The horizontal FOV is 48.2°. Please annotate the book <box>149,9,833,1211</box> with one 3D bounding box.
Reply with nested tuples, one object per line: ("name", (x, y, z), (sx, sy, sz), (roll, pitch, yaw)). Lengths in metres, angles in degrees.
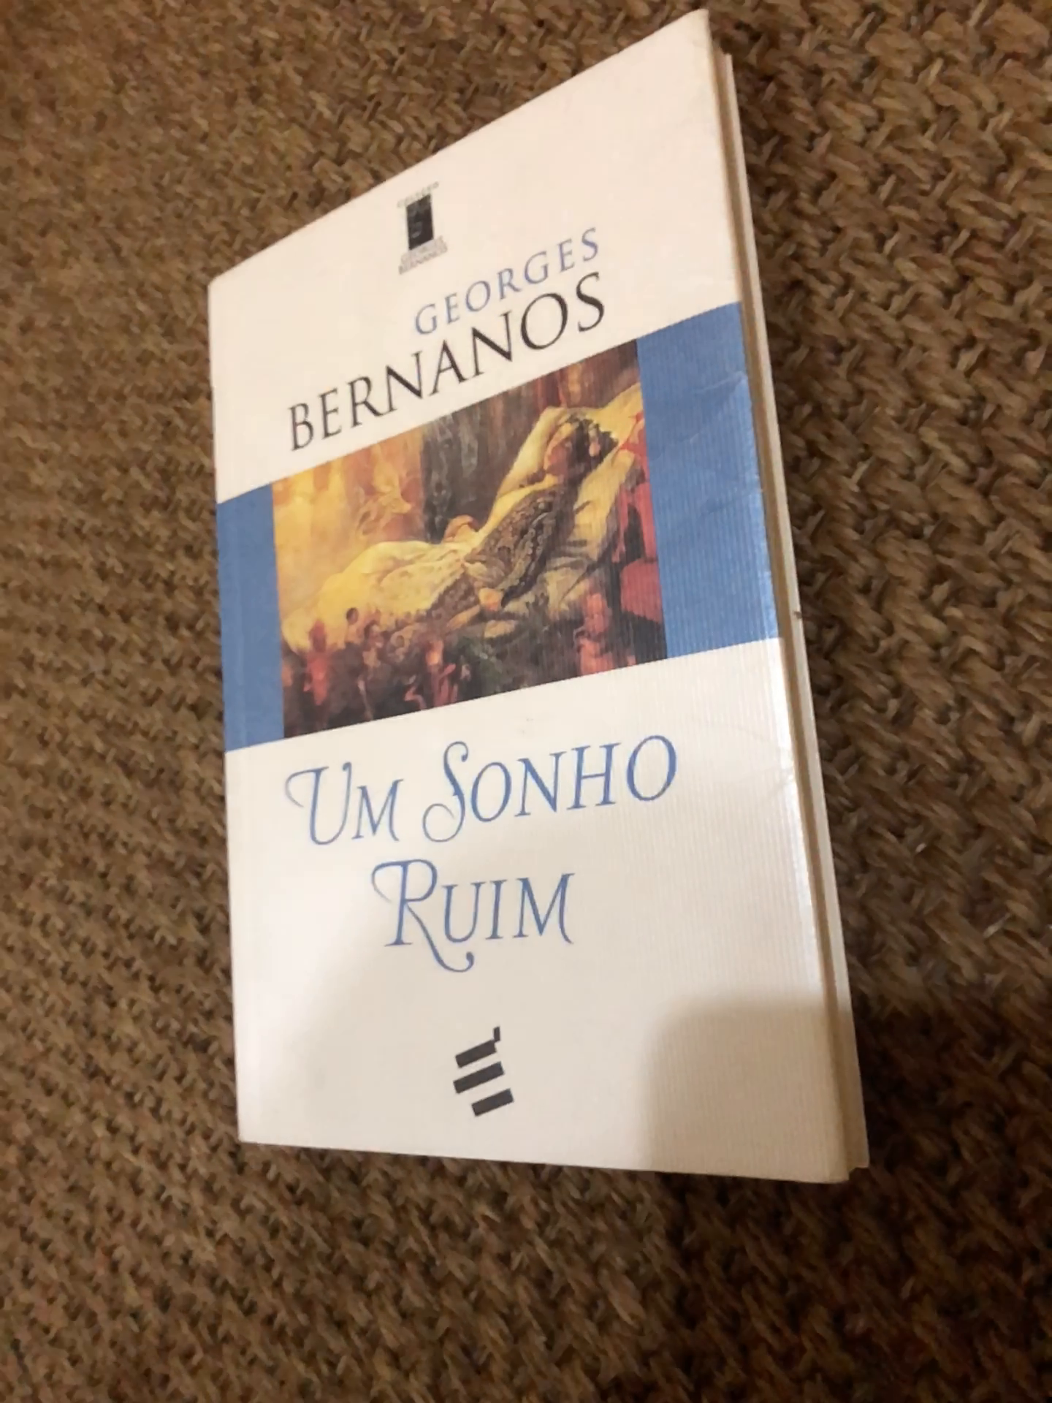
("book", (-0.021, -0.011, 0.236), (0.140, 0.020, 0.199), (-12, 78, 35))
